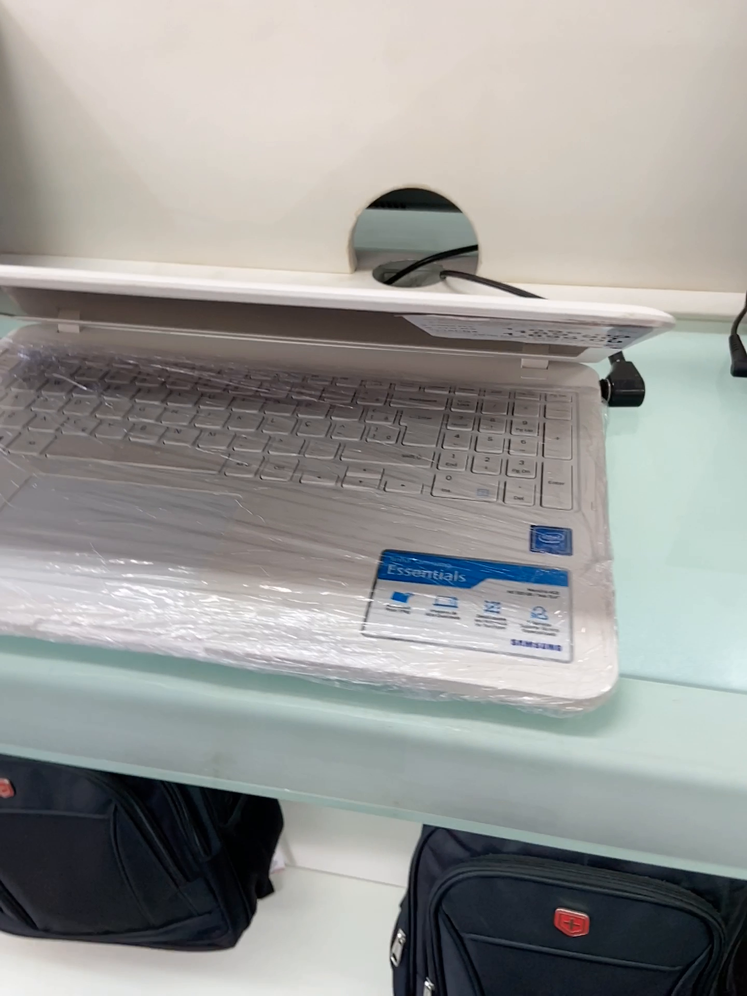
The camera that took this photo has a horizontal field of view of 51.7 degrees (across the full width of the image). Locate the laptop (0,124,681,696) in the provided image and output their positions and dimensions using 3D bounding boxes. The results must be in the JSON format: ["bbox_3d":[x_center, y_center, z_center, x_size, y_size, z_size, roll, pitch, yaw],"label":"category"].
[{"bbox_3d":[-0.080,-0.073,0.357,0.372,0.129,0.248,6,38,9],"label":"laptop"}]
